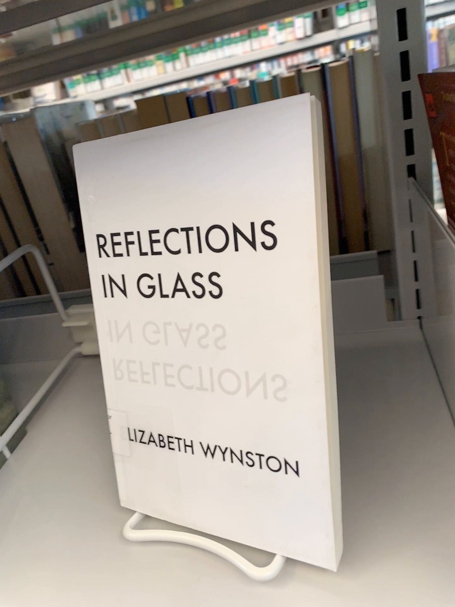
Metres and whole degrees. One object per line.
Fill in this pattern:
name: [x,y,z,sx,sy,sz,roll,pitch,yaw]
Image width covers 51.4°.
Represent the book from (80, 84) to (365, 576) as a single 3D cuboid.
book: [-0.005,0.016,0.223,0.127,0.196,0.018,1,11,30]
